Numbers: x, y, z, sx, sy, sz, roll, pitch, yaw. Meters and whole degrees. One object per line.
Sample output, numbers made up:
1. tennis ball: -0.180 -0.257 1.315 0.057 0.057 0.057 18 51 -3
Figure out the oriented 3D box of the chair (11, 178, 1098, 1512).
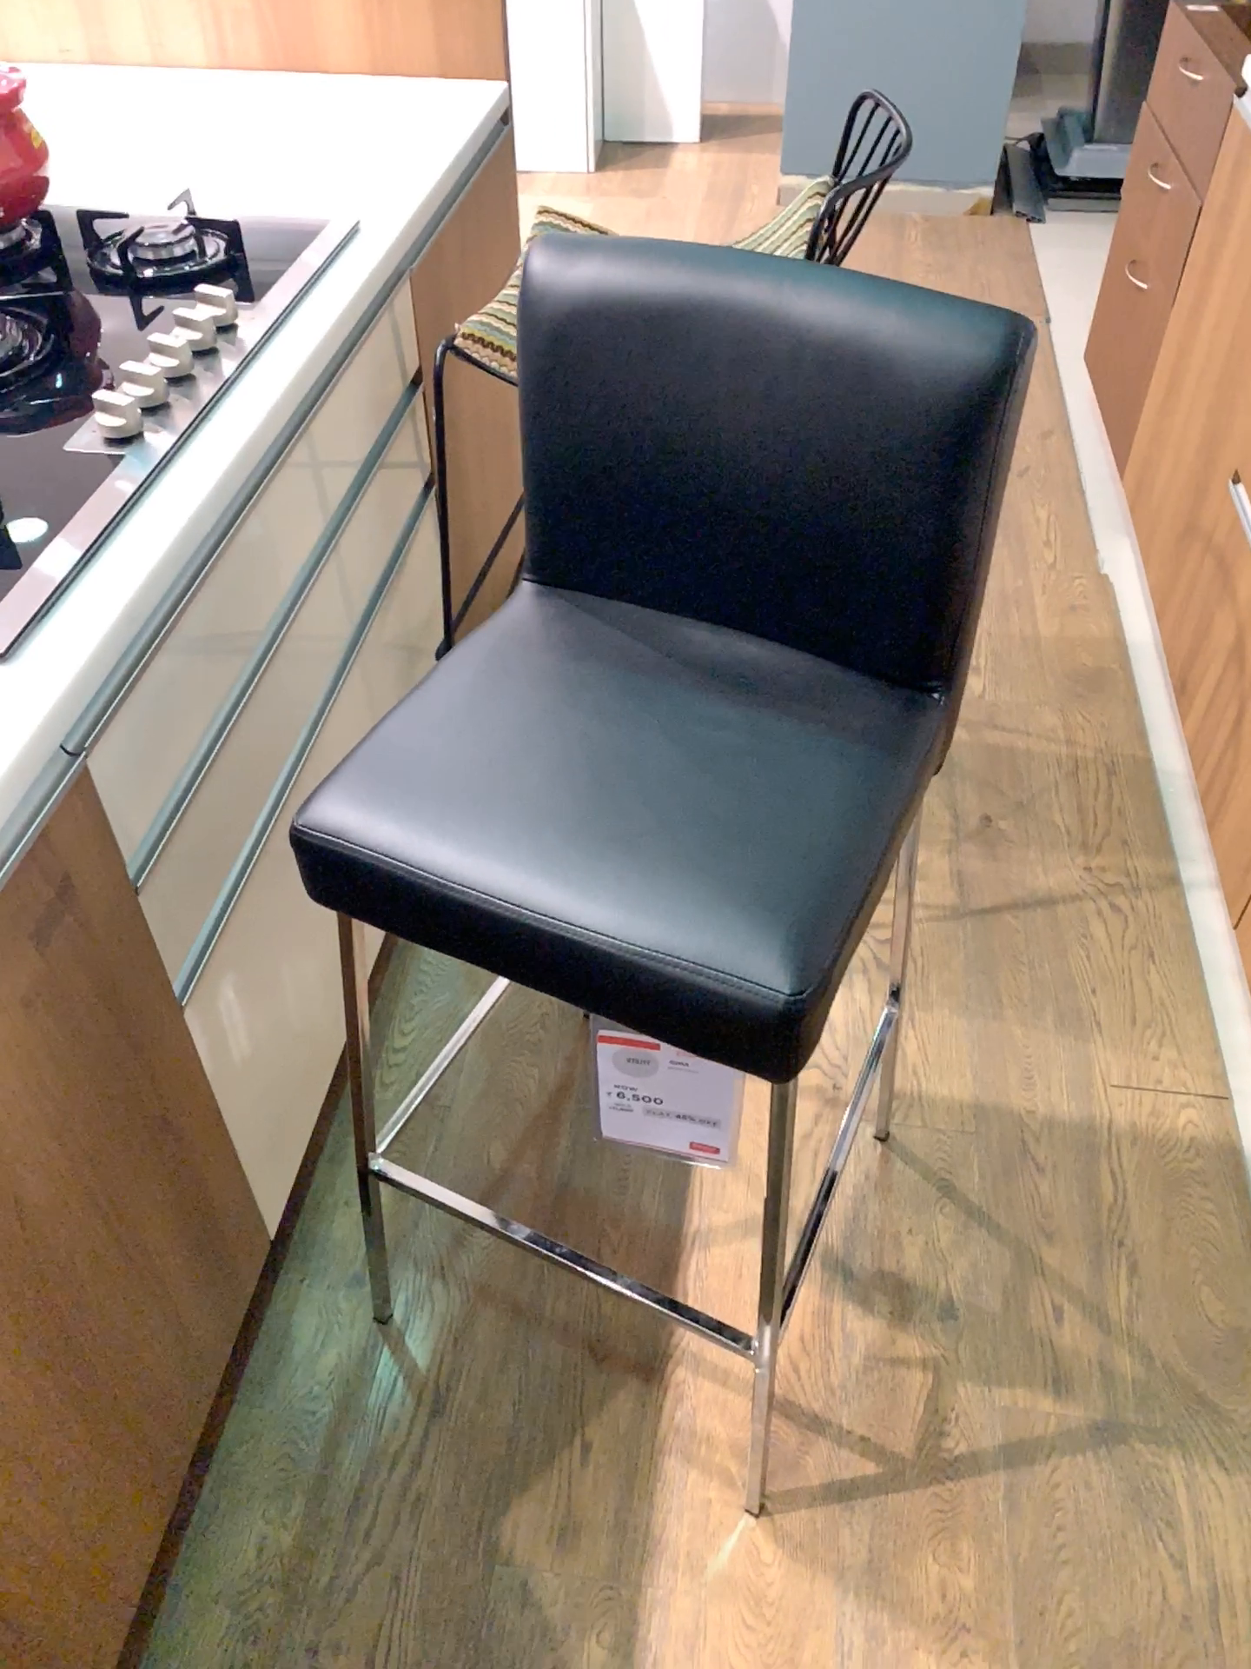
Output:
1. chair: -0.002 0.066 1.157 0.501 1.026 0.521 18 47 18
